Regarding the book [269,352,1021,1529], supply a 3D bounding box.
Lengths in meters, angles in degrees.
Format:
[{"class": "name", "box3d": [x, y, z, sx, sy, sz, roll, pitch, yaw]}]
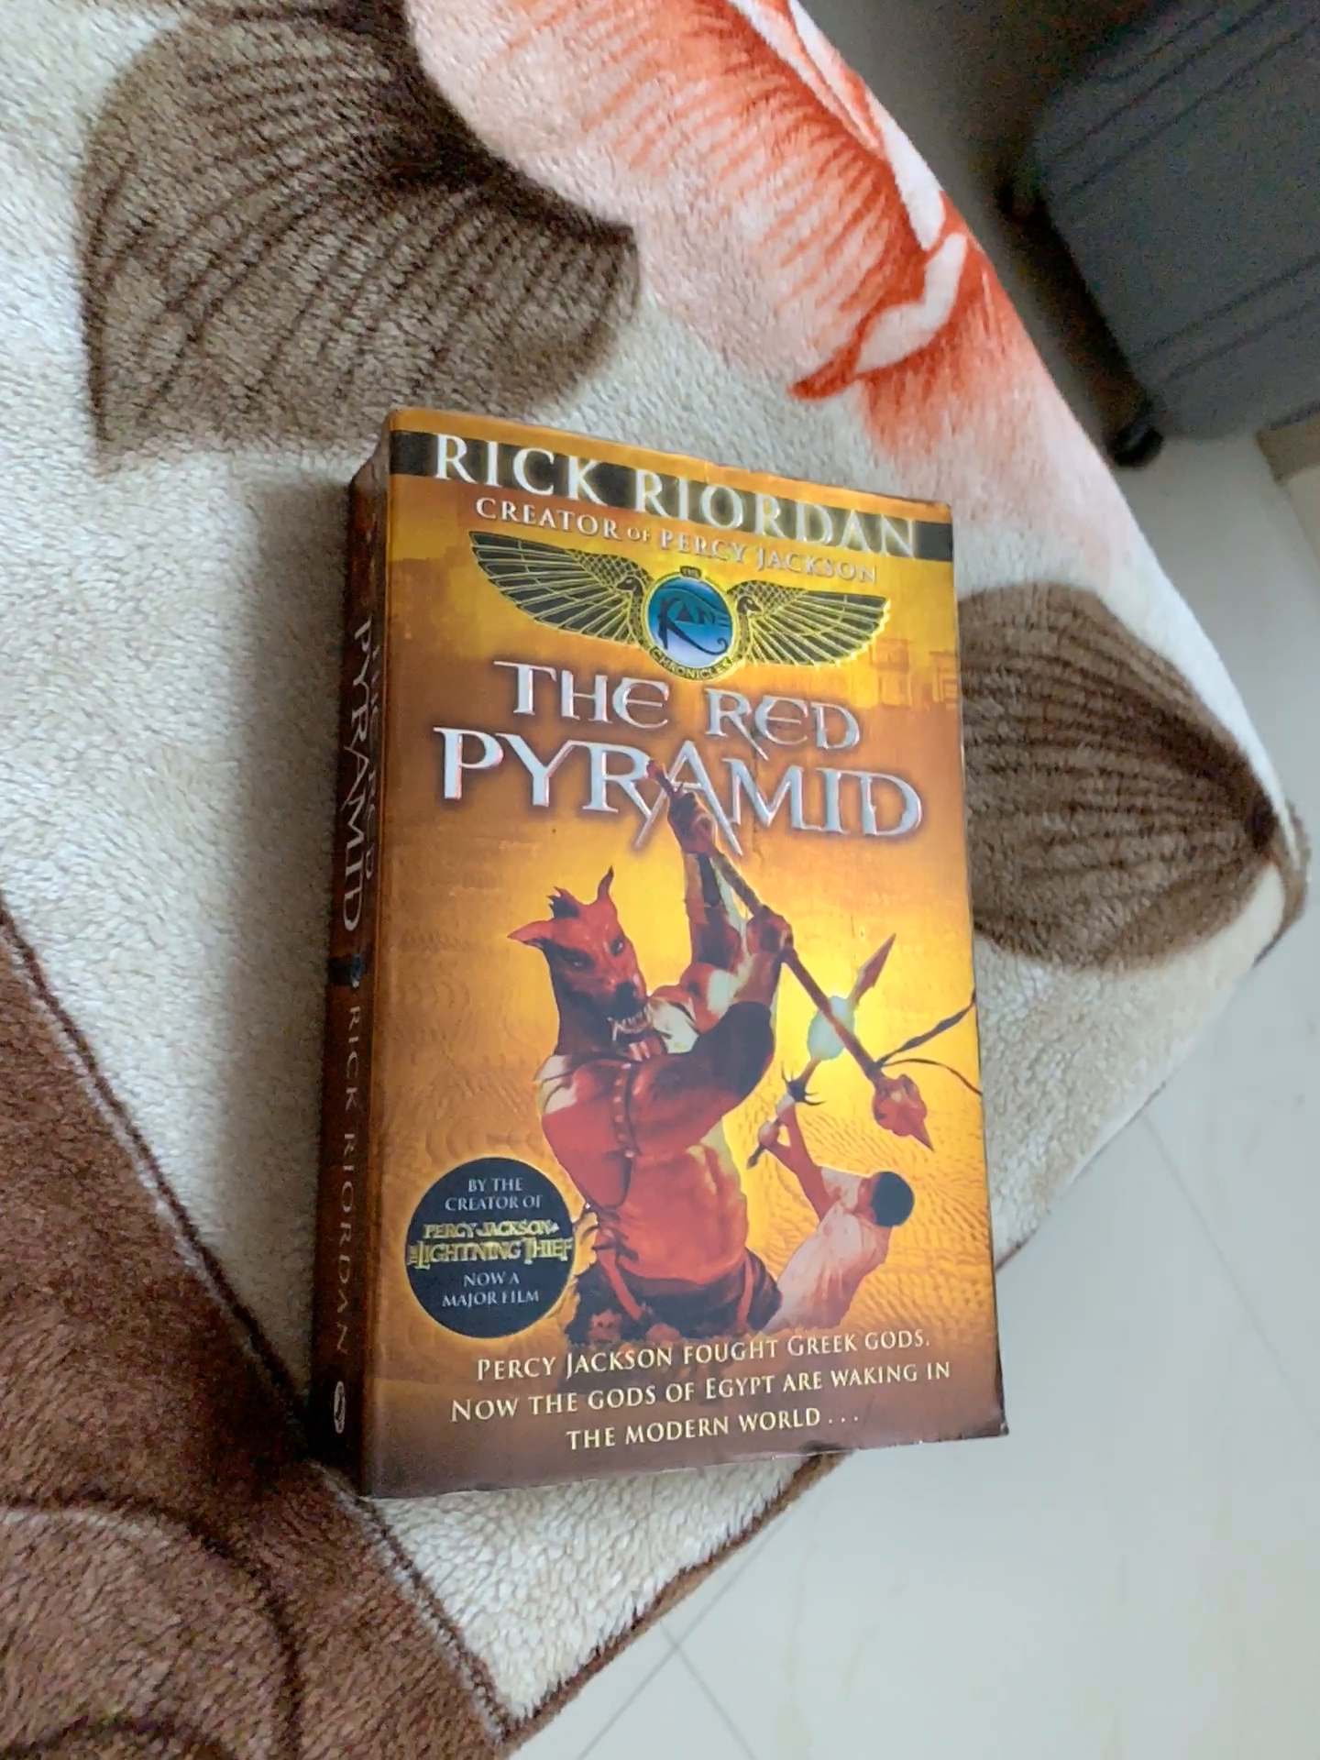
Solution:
[{"class": "book", "box3d": [-0.002, 0.010, 0.302, 0.150, 0.040, 0.220, 4, 76, -25]}]
